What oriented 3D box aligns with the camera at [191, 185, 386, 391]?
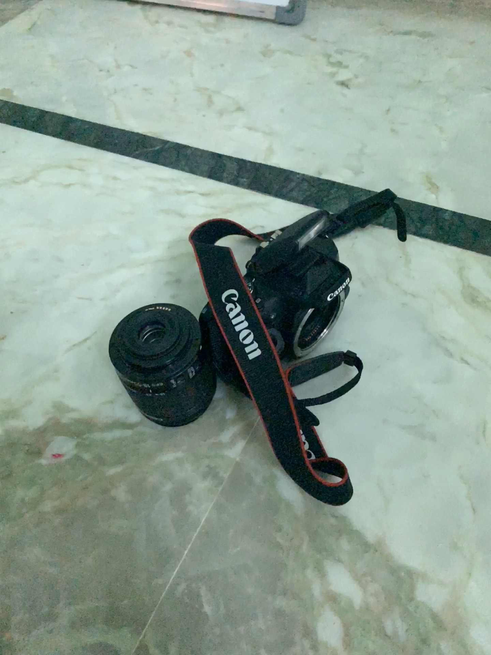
[{"bbox_3d":[0.034,-0.032,0.383,0.082,0.078,0.112,36,65,28],"label":"camera"}]
